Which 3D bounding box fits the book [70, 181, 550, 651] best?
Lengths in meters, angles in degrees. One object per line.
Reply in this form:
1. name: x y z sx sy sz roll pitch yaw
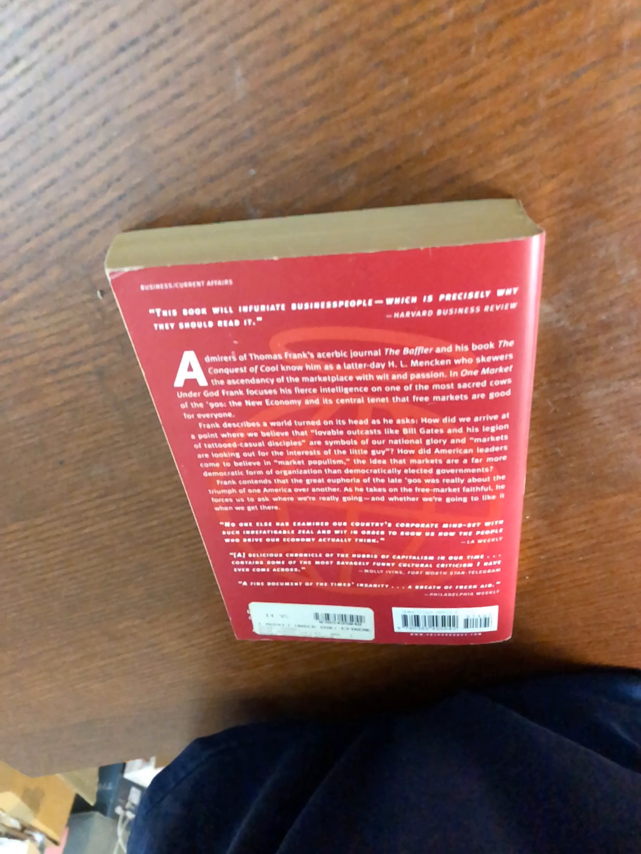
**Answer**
1. book: 0.008 0.017 0.283 0.140 0.030 0.211 -2 131 9
